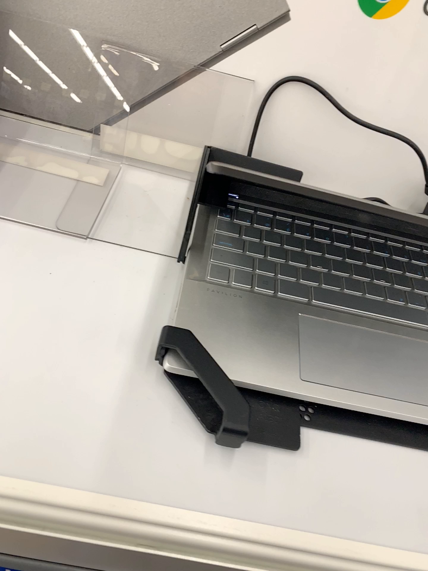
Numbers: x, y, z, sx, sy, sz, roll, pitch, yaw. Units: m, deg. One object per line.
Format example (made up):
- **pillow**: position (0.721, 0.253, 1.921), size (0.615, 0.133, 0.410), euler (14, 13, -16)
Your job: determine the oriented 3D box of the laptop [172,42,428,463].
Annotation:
- **laptop**: position (0.134, -0.031, 0.294), size (0.283, 0.111, 0.194), euler (13, 49, -2)
